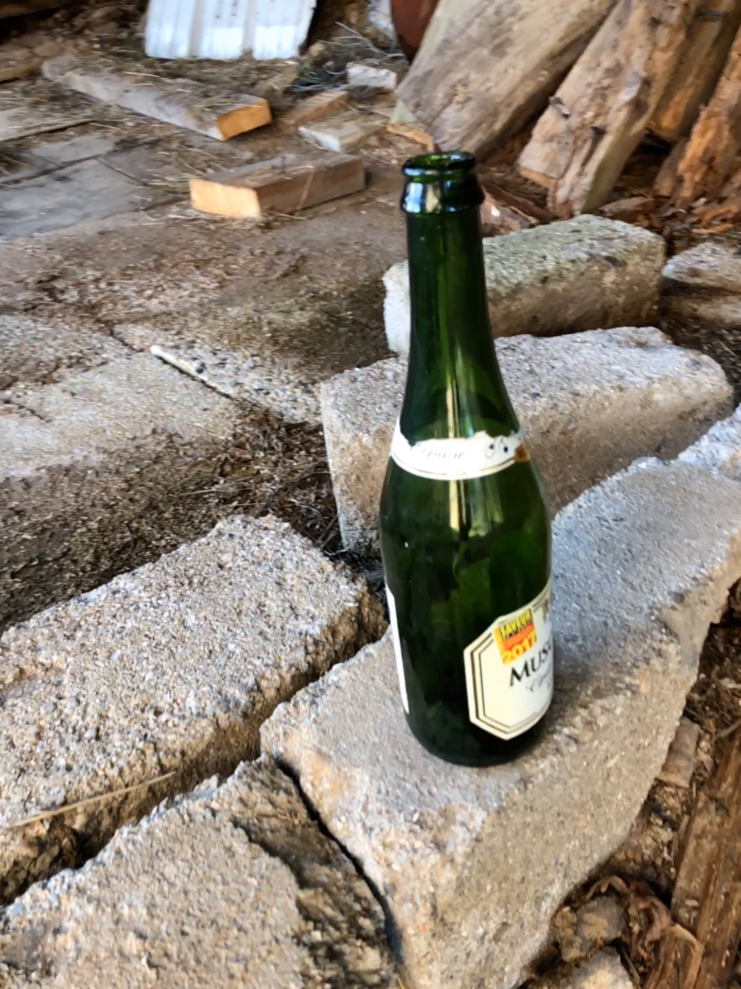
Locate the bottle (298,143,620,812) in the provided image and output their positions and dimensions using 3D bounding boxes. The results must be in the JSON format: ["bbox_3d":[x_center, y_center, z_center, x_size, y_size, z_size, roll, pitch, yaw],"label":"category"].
[{"bbox_3d":[0.045,0.002,0.374,0.090,0.288,0.091,-3,32,2],"label":"bottle"}]
